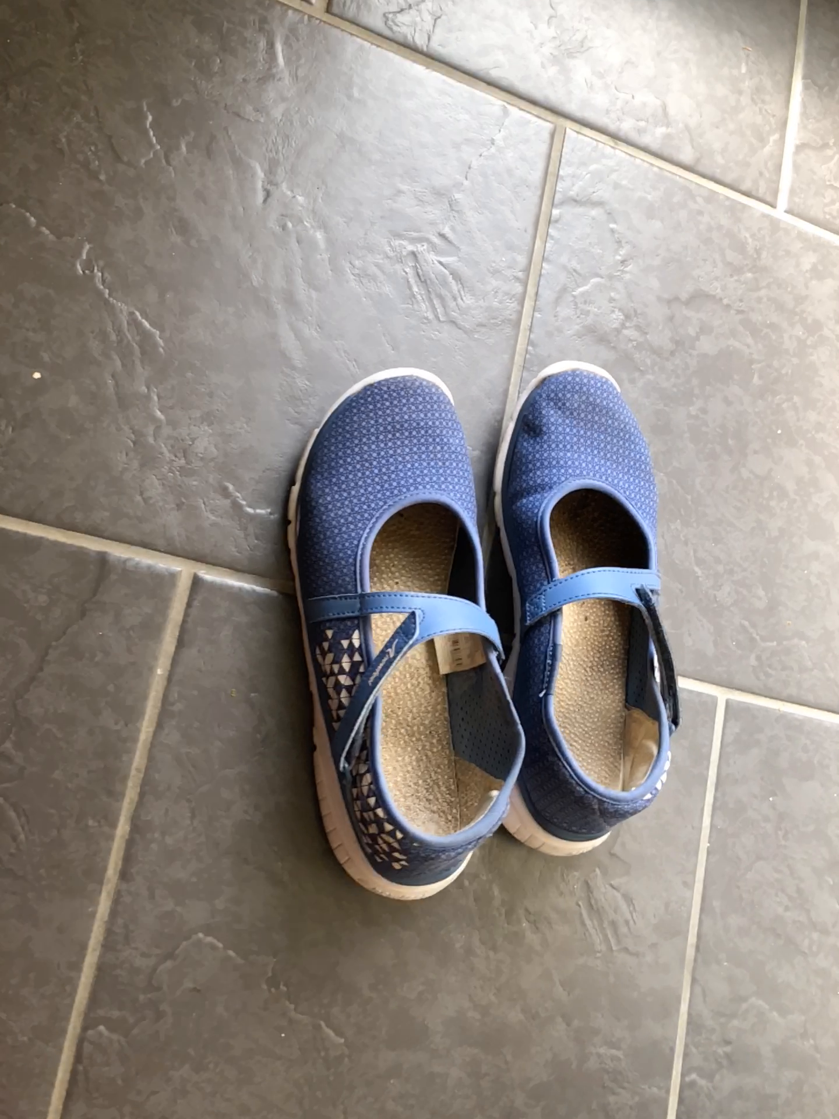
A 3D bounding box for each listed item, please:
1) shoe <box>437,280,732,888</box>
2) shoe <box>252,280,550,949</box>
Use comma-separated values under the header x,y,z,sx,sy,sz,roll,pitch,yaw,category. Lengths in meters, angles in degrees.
x,y,z,sx,sy,sz,roll,pitch,yaw,category
0.085,0.016,0.513,0.110,0.120,0.290,4,81,-19,shoe
-0.019,0.025,0.476,0.110,0.120,0.290,0,83,-19,shoe
